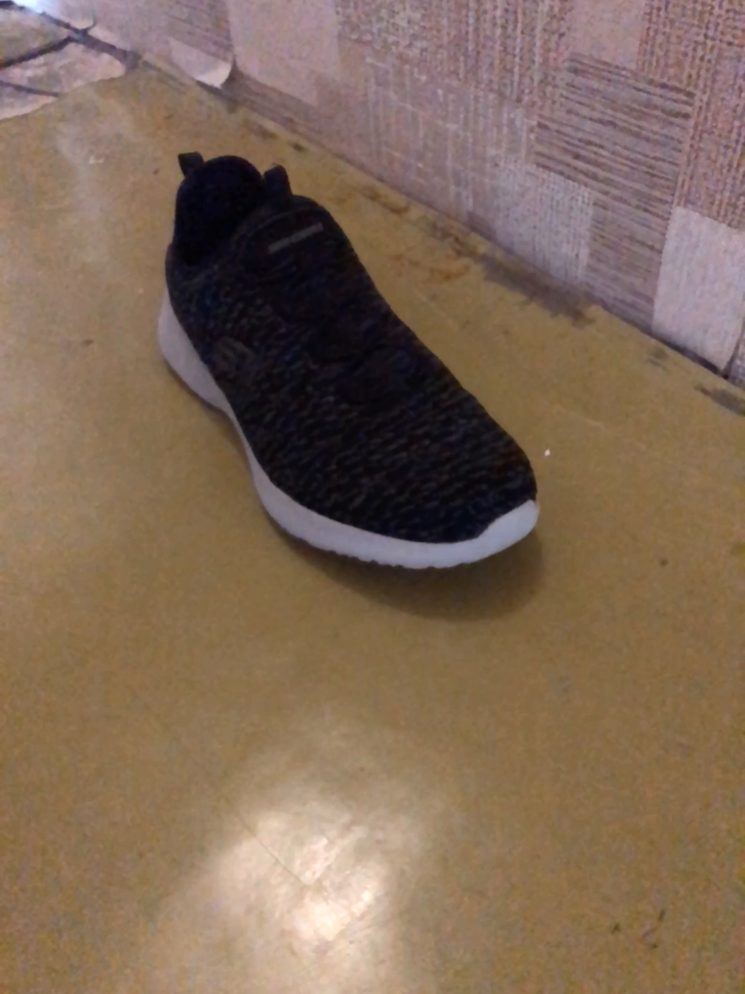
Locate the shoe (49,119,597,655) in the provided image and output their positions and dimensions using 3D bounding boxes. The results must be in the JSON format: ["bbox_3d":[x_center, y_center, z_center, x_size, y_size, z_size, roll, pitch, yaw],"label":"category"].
[{"bbox_3d":[-0.045,-0.085,0.473,0.120,0.129,0.321,-30,52,-23],"label":"shoe"}]
